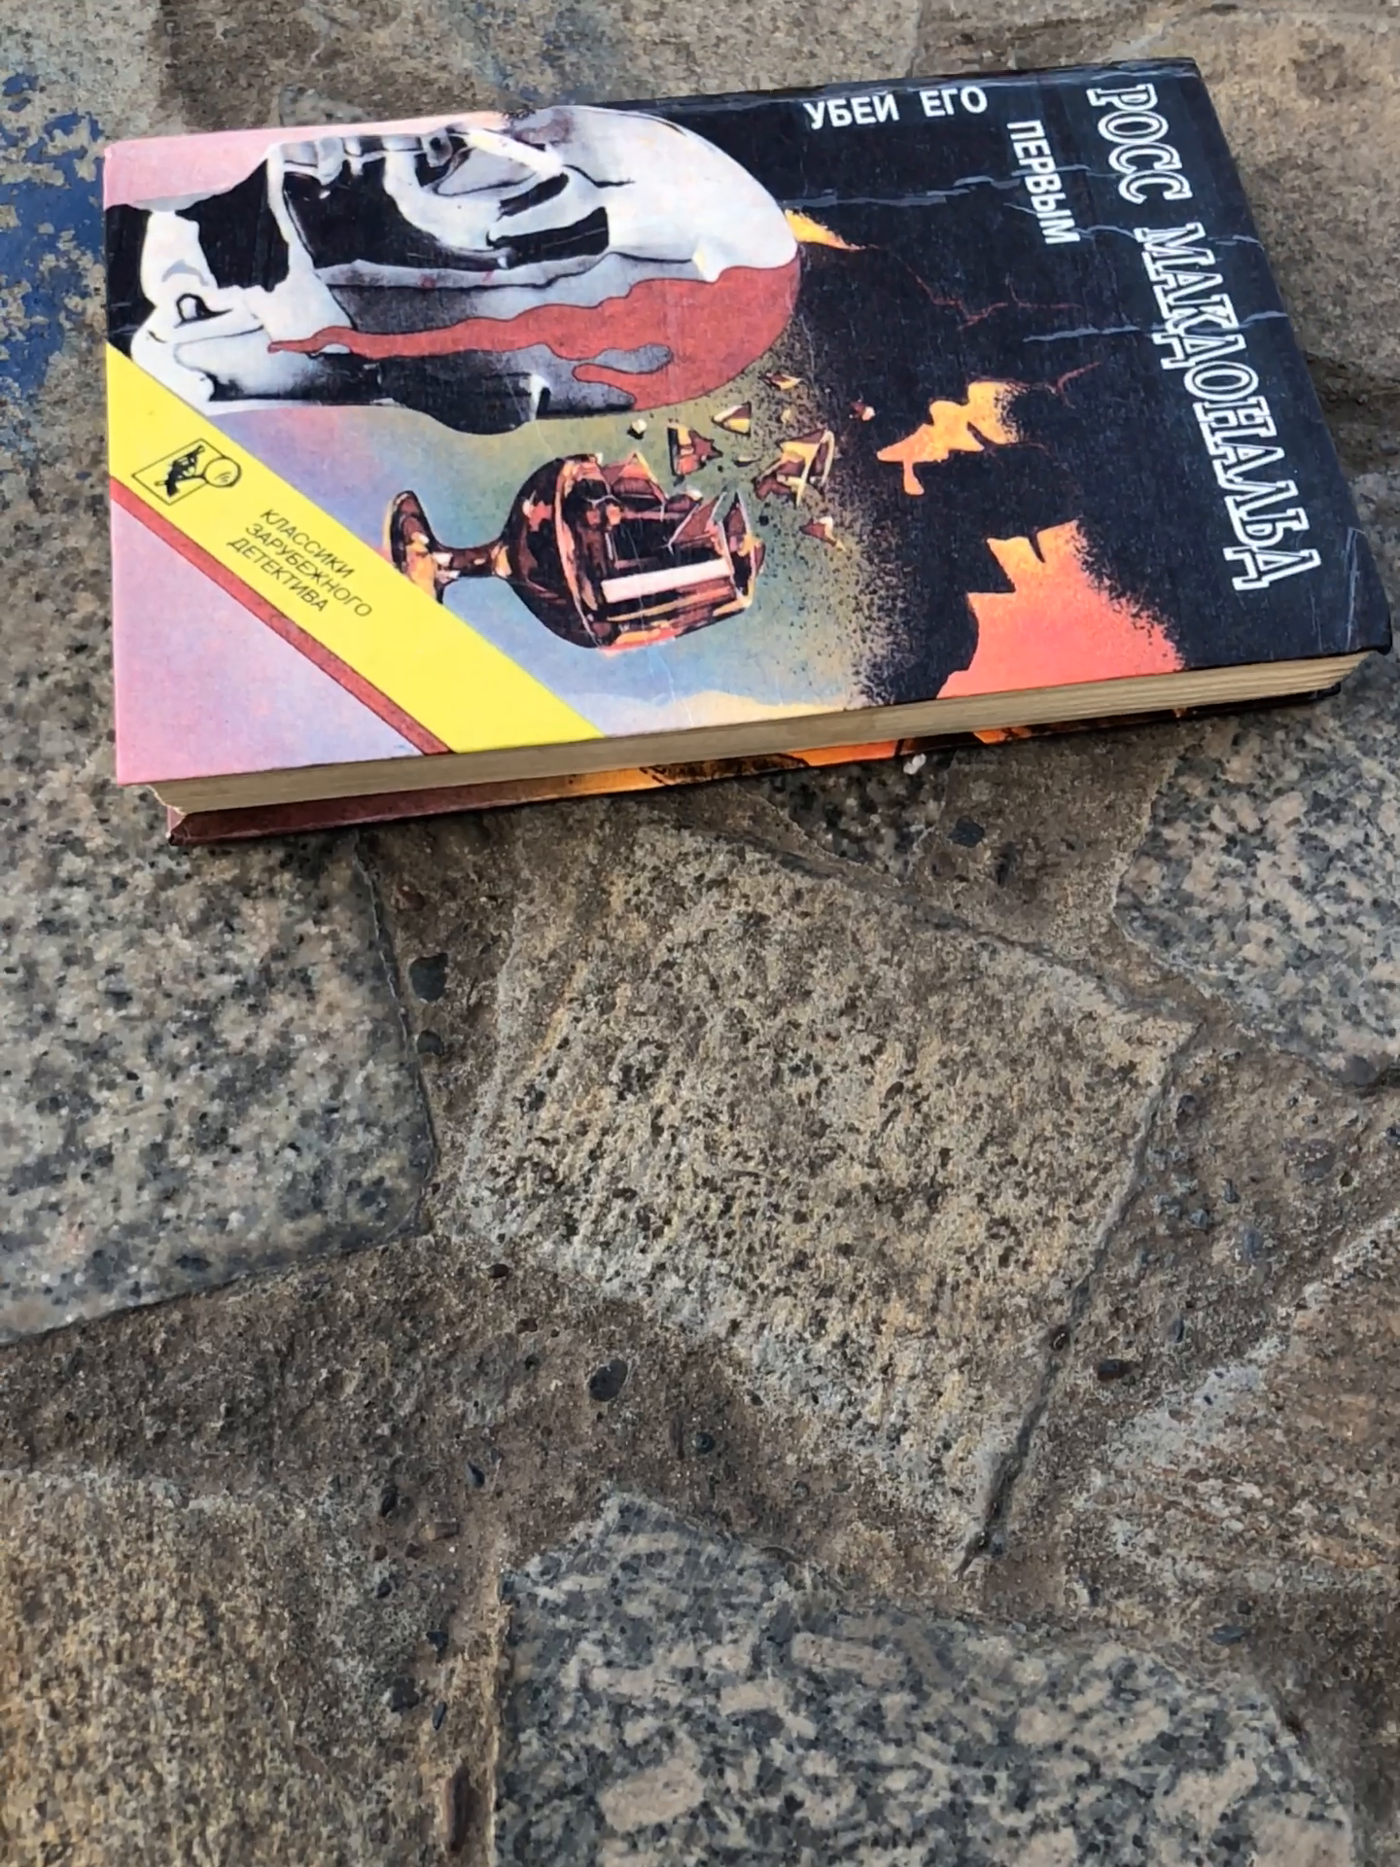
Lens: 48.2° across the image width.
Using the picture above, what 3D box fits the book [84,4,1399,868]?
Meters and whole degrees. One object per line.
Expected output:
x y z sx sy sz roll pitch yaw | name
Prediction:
0.004 -0.093 0.276 0.210 0.030 0.140 -7 69 -5 | book
